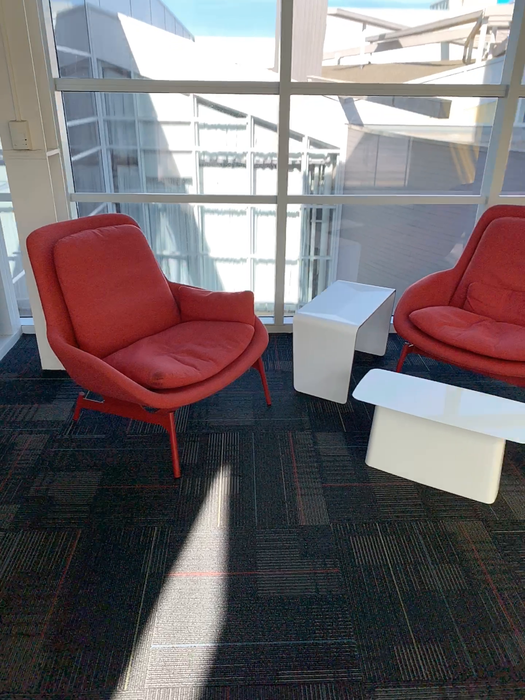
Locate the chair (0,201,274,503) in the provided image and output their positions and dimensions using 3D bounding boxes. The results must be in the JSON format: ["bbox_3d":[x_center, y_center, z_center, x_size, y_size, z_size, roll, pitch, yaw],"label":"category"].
[{"bbox_3d":[-0.536,-0.076,2.611,0.823,1.054,0.872,17,30,30],"label":"chair"}]

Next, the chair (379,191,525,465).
[{"bbox_3d":[1.256,-0.203,2.790,0.873,0.994,0.922,18,31,32],"label":"chair"}]
